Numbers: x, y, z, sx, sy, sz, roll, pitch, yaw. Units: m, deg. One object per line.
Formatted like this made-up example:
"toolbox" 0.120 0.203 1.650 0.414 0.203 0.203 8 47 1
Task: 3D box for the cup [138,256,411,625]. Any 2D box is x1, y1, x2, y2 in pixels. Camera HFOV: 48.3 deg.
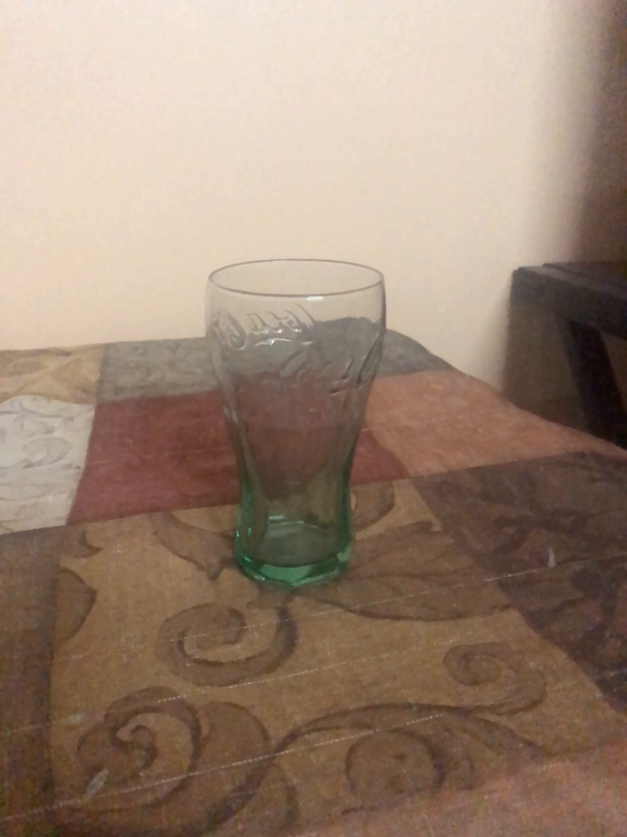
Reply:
"cup" -0.011 0.002 0.262 0.070 0.110 0.070 1 21 0
